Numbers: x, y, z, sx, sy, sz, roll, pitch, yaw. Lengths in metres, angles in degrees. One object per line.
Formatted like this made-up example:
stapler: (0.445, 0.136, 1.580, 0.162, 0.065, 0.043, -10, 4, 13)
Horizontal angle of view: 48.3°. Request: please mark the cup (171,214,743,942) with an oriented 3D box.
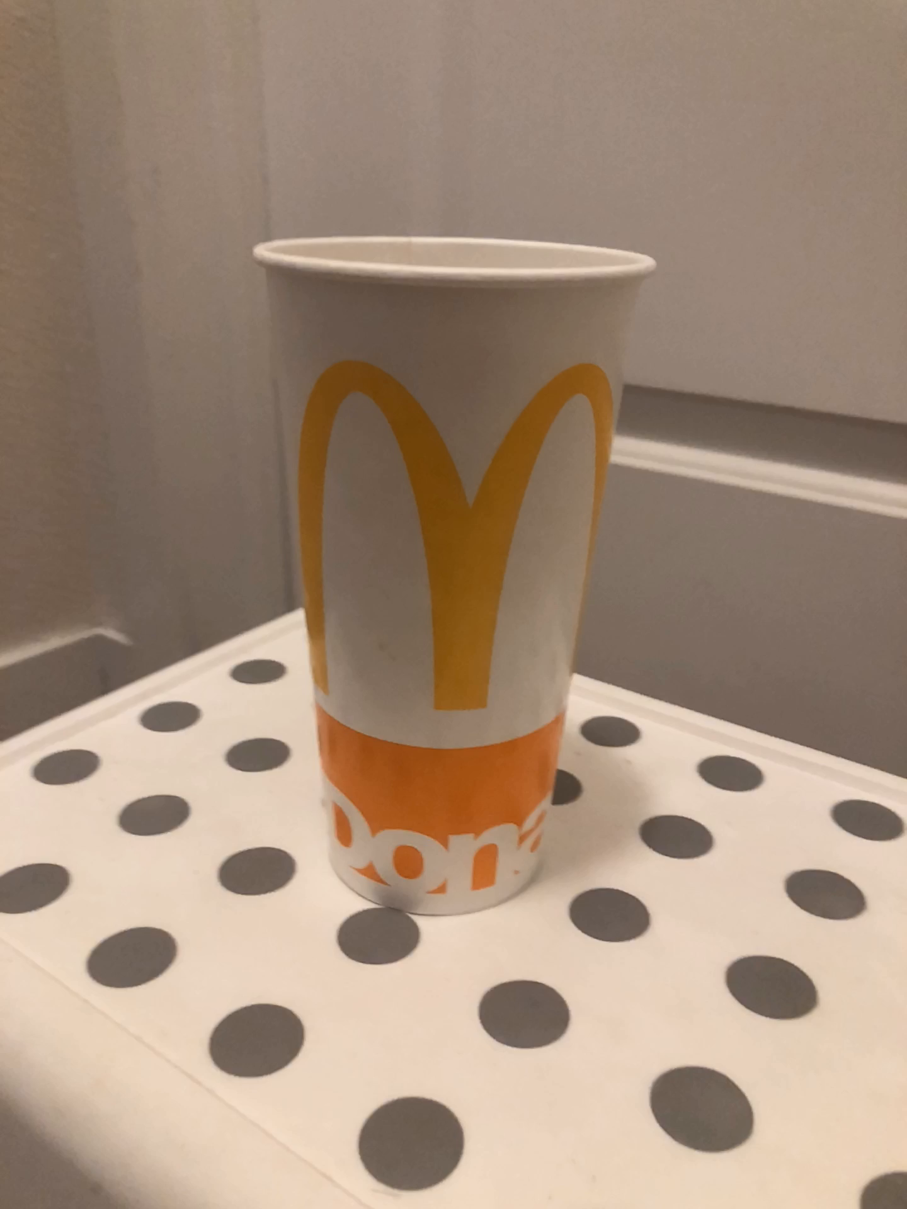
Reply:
cup: (-0.001, -0.012, 0.253, 0.100, 0.155, 0.099, 1, 23, 0)
